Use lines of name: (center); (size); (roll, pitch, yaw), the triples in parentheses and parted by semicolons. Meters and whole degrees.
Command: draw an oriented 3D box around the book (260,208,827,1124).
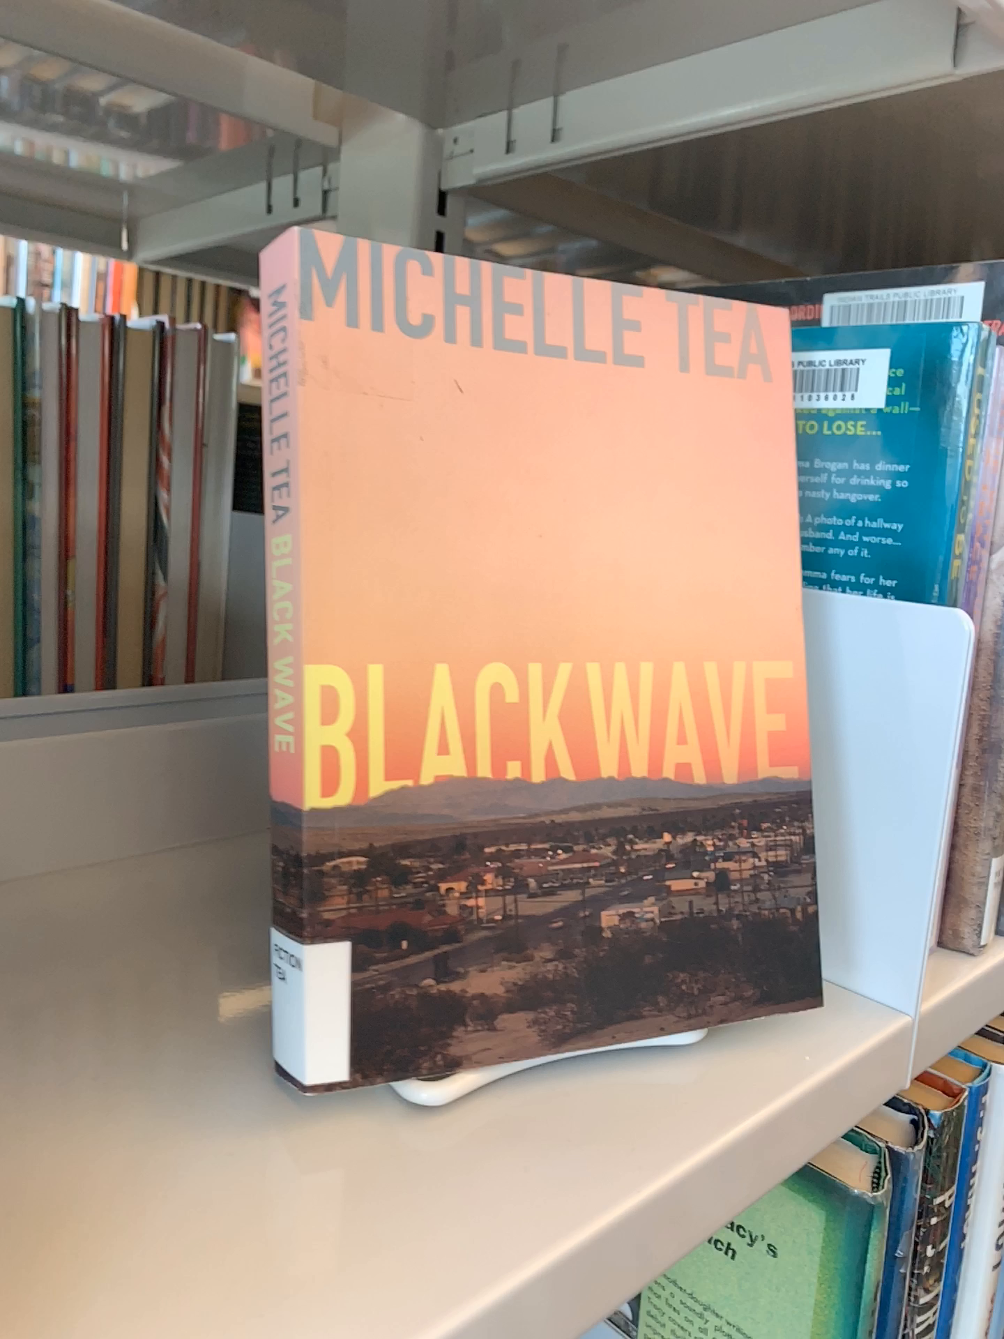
book: (0.014, -0.002, 0.274); (0.147, 0.201, 0.036); (0, -2, -24)
